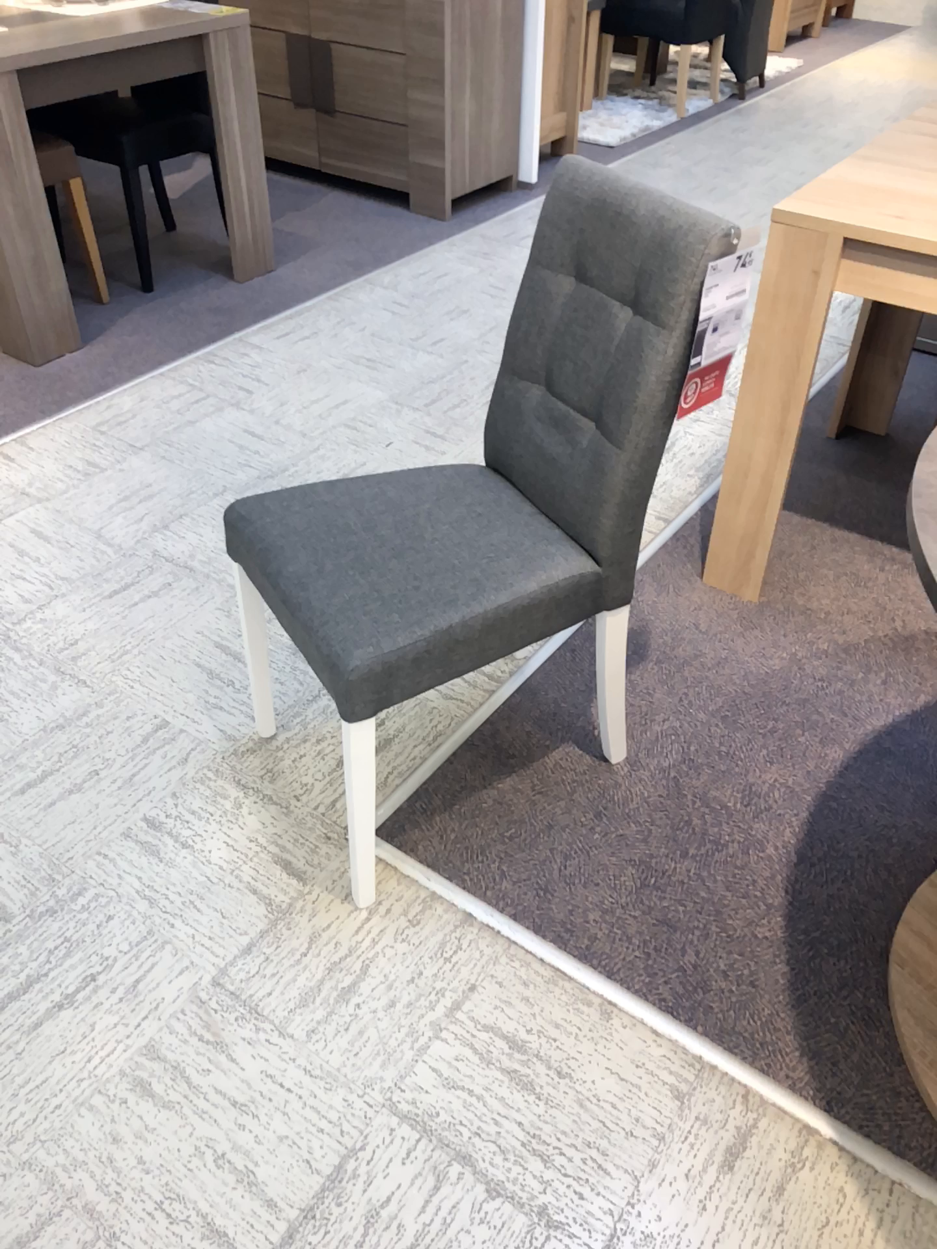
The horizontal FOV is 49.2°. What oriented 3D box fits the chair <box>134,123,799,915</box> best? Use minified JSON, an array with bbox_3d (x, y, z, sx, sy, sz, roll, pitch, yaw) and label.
[{"bbox_3d":[-0.022,-0.147,1.377,0.582,0.825,0.461,-18,42,-22],"label":"chair"}]
